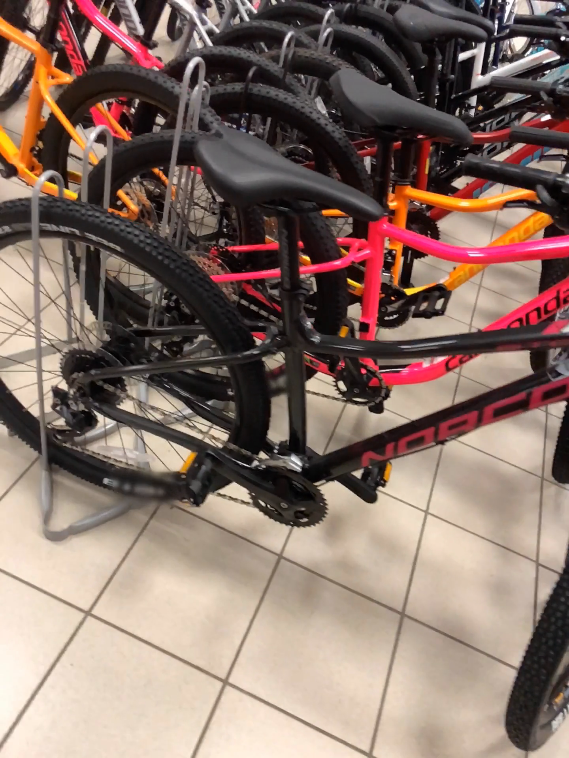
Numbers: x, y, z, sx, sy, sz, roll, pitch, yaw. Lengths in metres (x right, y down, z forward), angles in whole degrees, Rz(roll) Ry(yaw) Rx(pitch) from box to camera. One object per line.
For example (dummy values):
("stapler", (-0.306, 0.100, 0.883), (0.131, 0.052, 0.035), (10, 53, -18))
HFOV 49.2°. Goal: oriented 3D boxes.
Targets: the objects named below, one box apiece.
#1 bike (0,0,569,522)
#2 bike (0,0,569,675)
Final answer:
("bike", (0.340, -0.366, 1.518), (1.564, 1.074, 0.656), (15, 42, -2))
("bike", (0.170, -0.114, 1.245), (1.579, 1.101, 0.688), (17, 42, -5))
